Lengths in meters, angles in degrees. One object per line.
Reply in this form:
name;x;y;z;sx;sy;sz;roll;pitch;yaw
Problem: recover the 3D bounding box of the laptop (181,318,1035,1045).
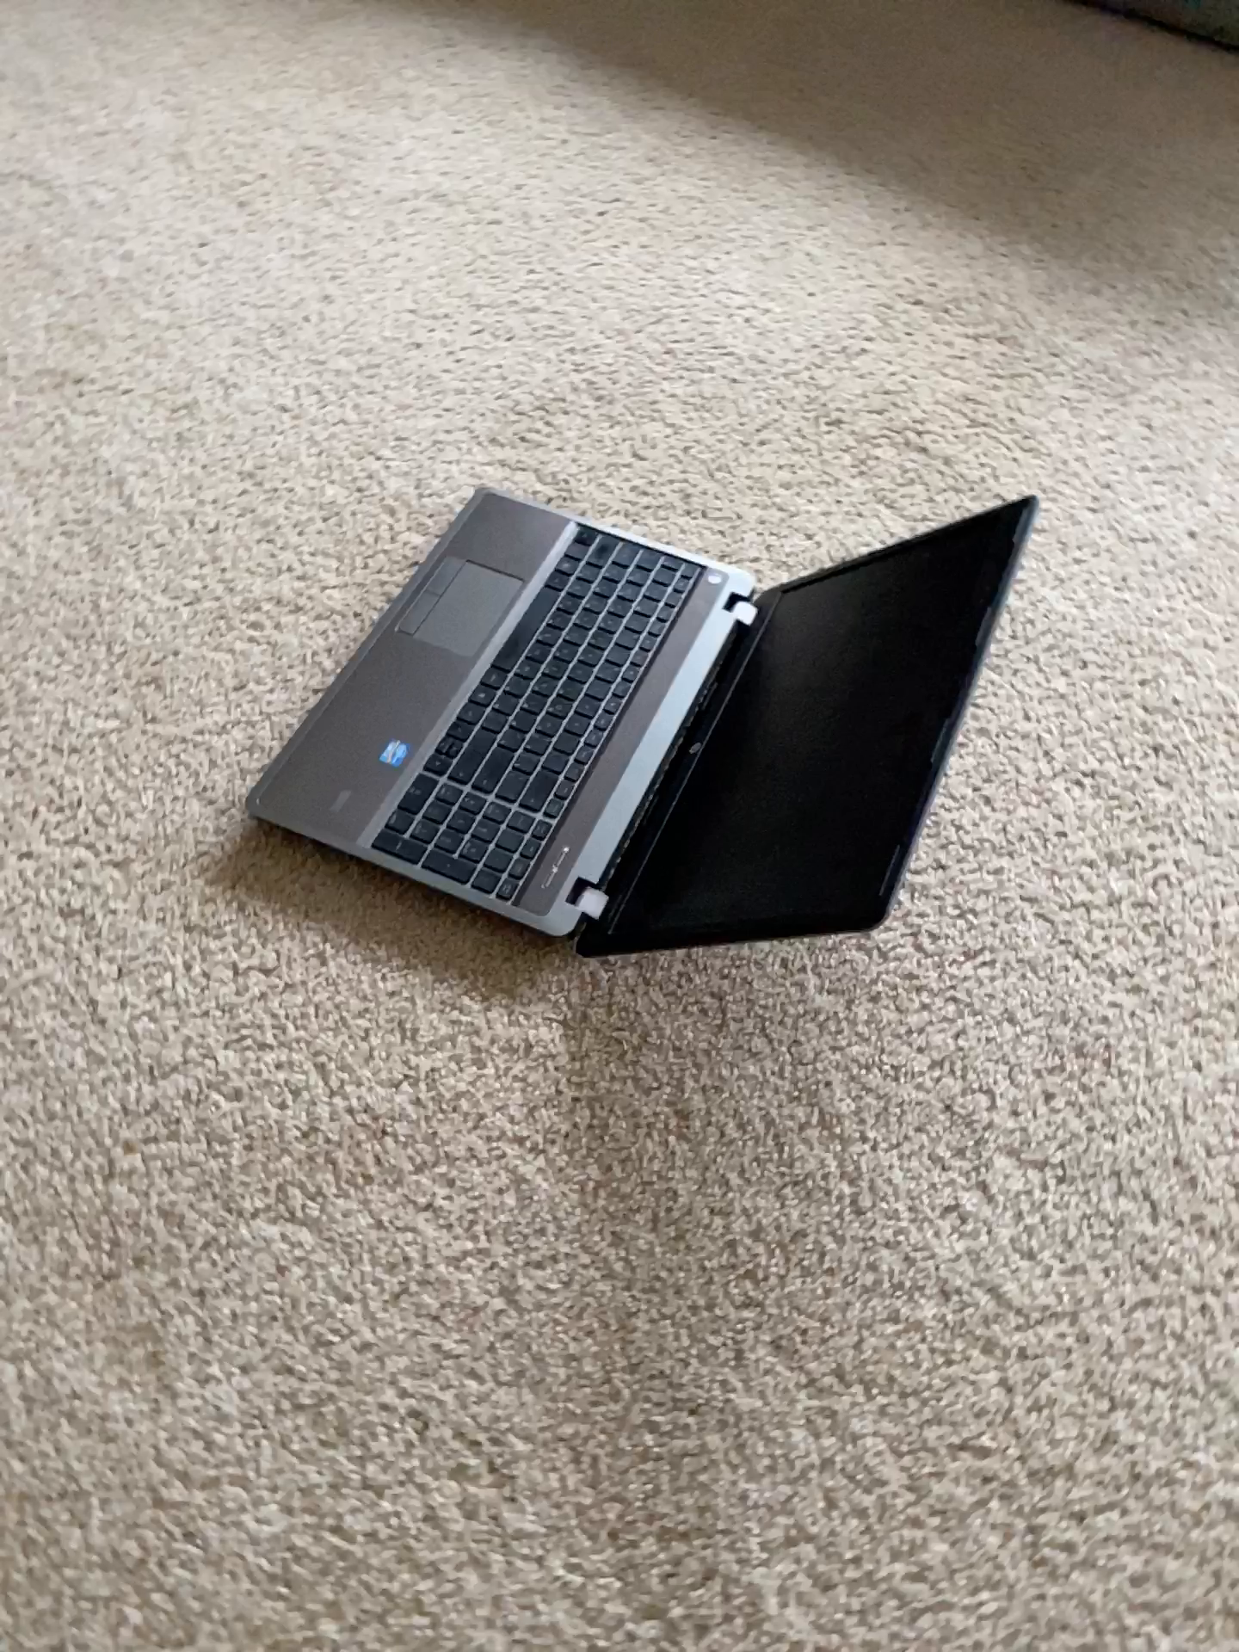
laptop;0.010;-0.122;0.871;0.435;0.162;0.376;20;57;11
